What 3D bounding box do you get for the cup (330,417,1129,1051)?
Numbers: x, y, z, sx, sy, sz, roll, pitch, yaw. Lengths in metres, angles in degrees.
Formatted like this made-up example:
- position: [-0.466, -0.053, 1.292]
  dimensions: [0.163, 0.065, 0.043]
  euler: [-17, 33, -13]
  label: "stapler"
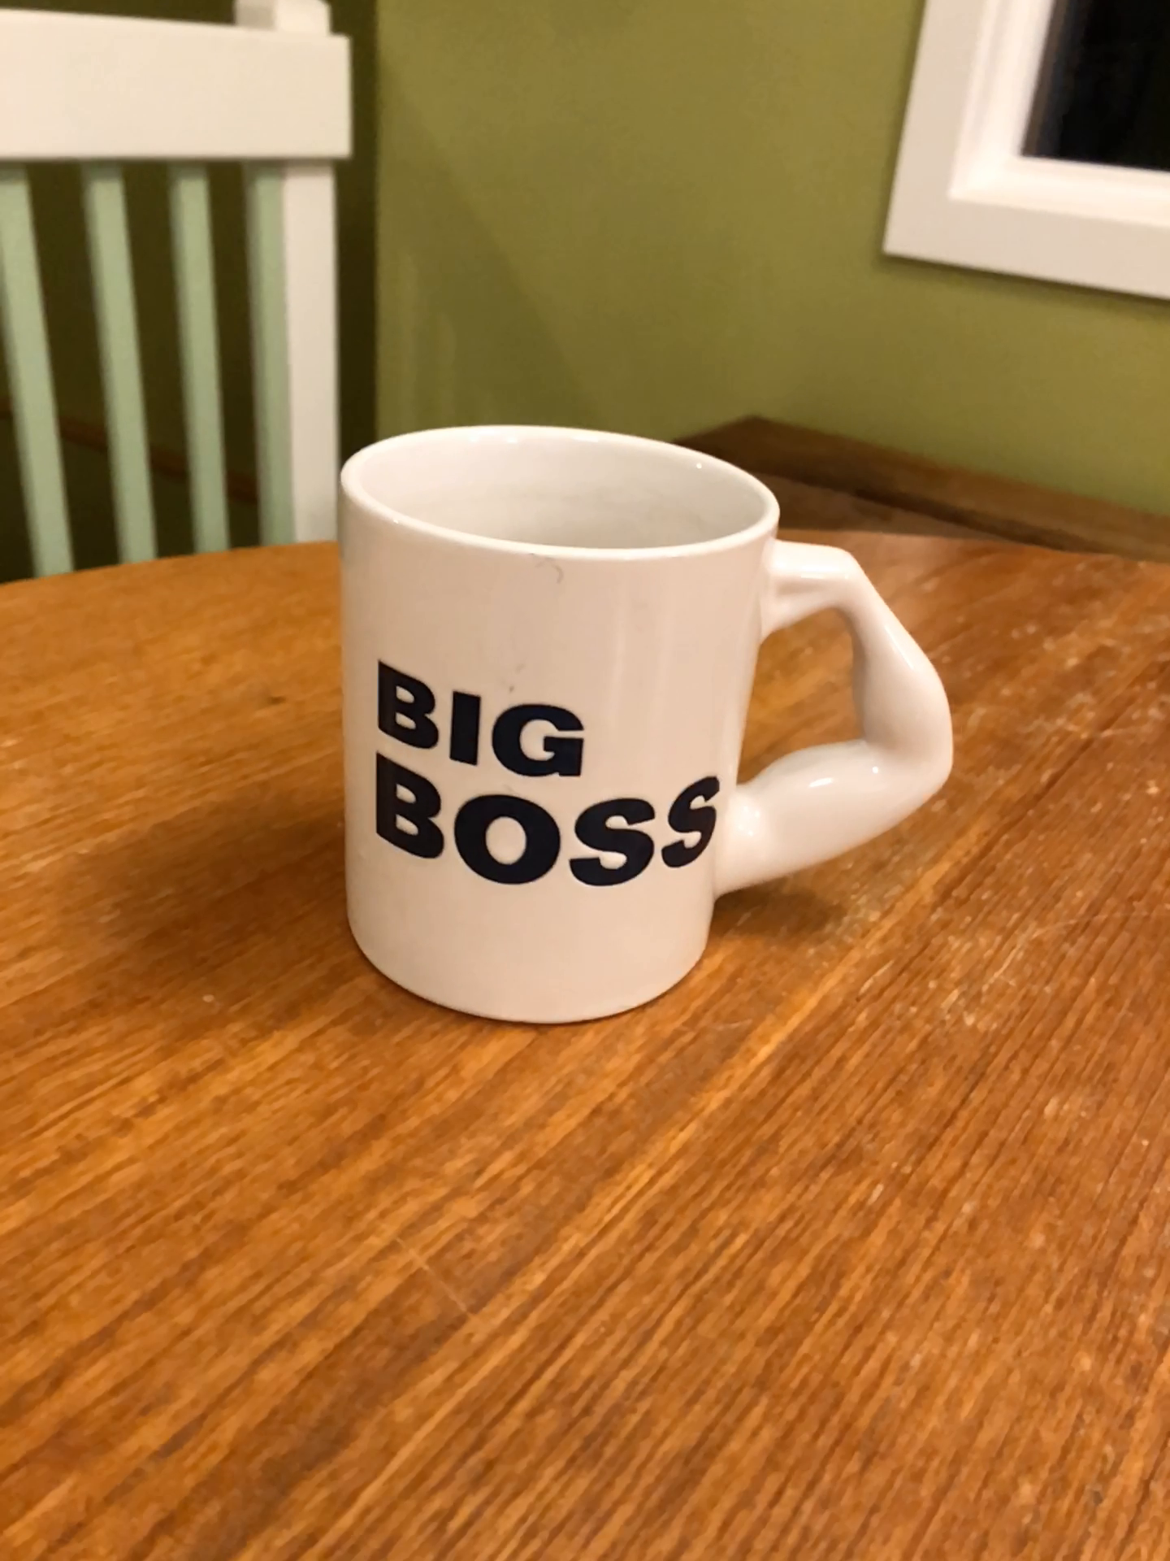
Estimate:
- position: [0.017, -0.014, 0.279]
  dimensions: [0.138, 0.099, 0.088]
  euler: [-1, 29, -11]
  label: "cup"
